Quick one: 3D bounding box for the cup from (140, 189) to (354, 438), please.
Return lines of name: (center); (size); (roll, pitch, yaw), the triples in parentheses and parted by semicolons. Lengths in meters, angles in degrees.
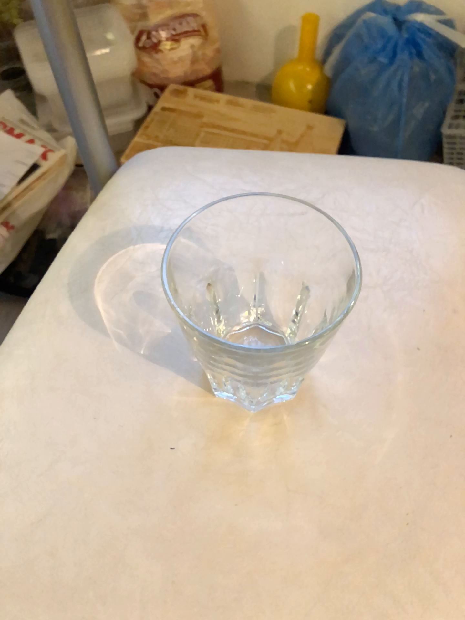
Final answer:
cup: (0.009, 0.006, 0.256); (0.080, 0.100, 0.080); (-1, 59, 1)
